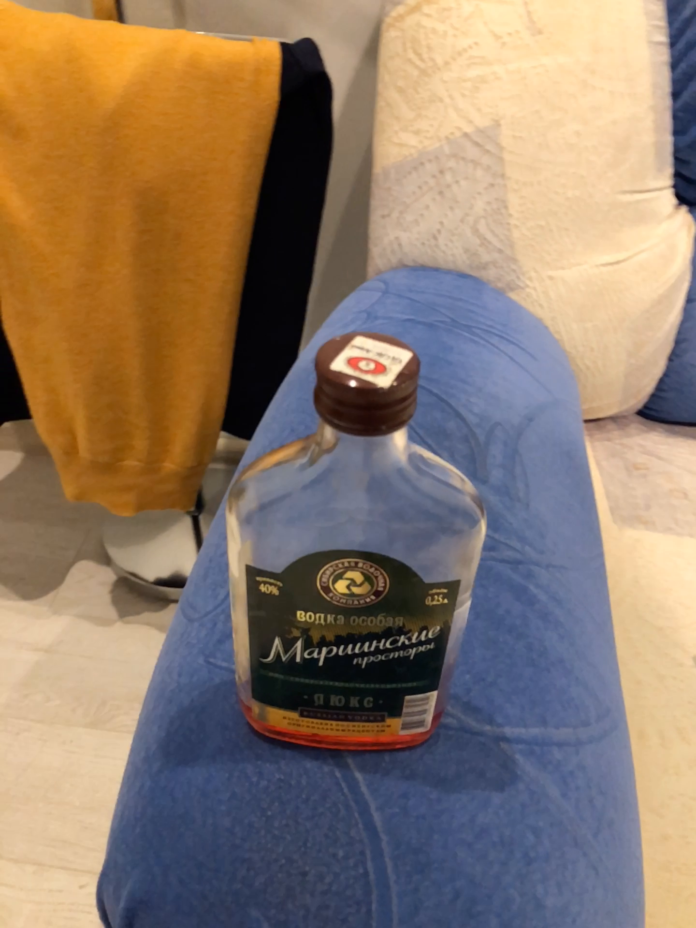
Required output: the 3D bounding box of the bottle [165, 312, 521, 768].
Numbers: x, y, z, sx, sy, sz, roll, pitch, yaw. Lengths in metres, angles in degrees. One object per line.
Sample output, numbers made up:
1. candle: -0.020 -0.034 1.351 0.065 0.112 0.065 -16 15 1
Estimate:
1. bottle: -0.001 0.039 0.266 0.090 0.179 0.040 3 41 3
